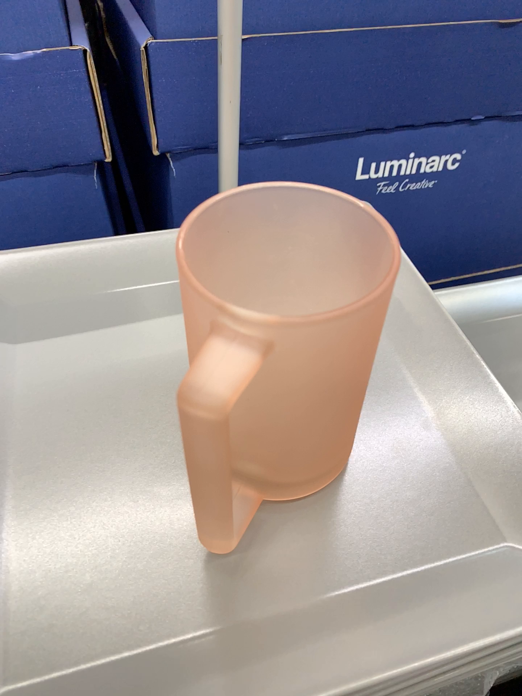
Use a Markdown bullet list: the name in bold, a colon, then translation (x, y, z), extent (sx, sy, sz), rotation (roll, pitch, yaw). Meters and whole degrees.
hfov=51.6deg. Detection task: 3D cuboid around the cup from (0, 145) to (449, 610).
- **cup**: translation (-0.003, 0.003, 0.204), extent (0.095, 0.095, 0.120), rotation (21, 48, 19)
